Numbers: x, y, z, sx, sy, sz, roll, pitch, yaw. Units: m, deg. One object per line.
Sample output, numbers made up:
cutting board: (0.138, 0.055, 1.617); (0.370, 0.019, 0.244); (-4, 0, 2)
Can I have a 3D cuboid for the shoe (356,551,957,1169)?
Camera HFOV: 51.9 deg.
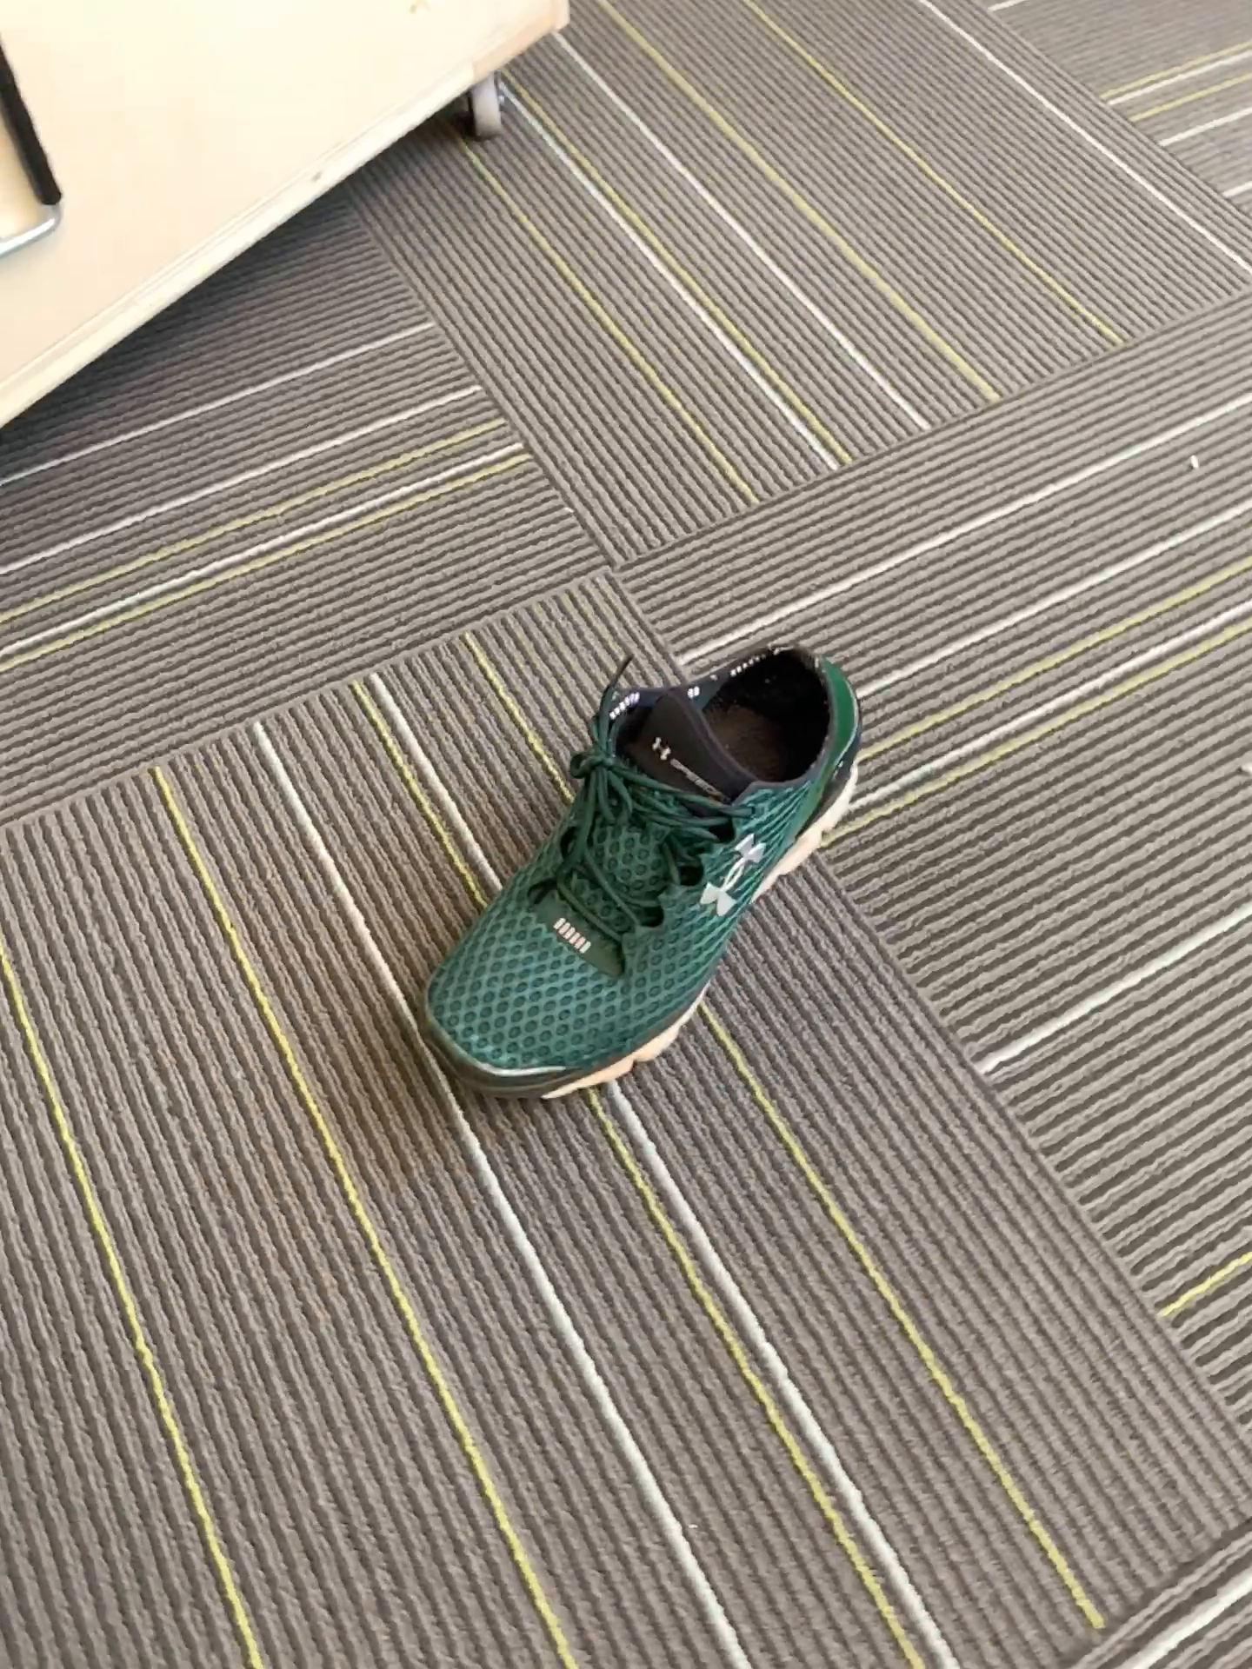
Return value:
shoe: (0.022, 0.008, 0.673); (0.120, 0.120, 0.300); (39, 67, 19)
